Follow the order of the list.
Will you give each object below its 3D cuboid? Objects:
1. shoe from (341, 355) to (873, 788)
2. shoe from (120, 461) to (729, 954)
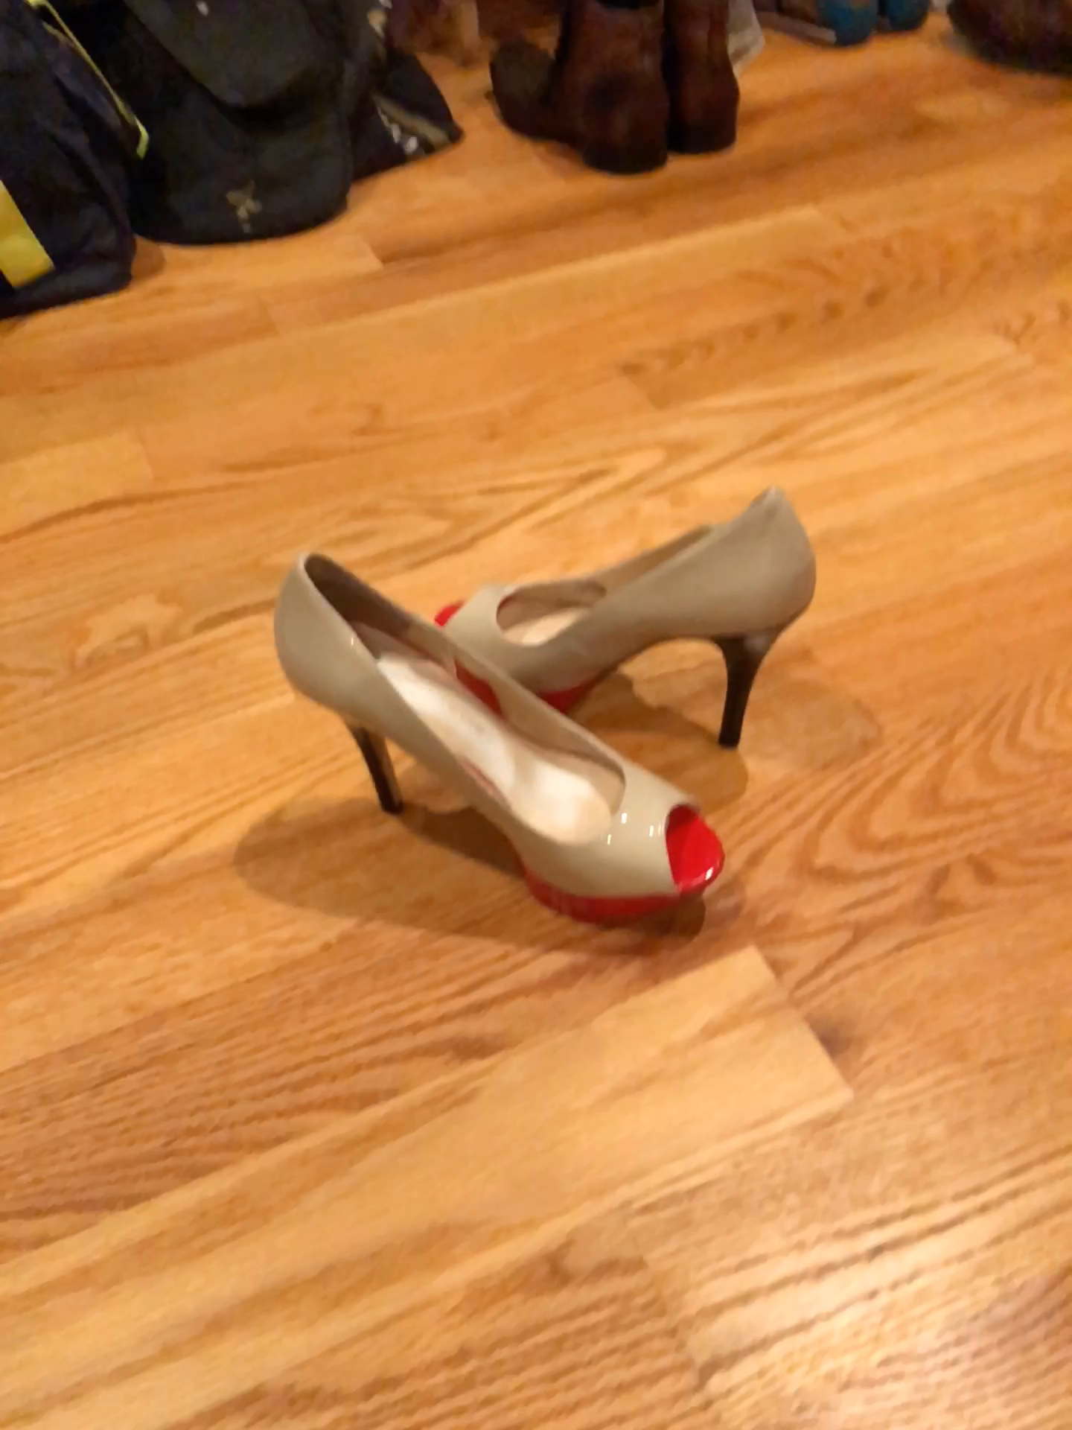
[{"bbox_3d":[0.033,-0.071,0.571,0.220,0.149,0.080,15,48,19],"label":"shoe"},{"bbox_3d":[-0.040,-0.007,0.486,0.215,0.129,0.085,16,49,20],"label":"shoe"}]
